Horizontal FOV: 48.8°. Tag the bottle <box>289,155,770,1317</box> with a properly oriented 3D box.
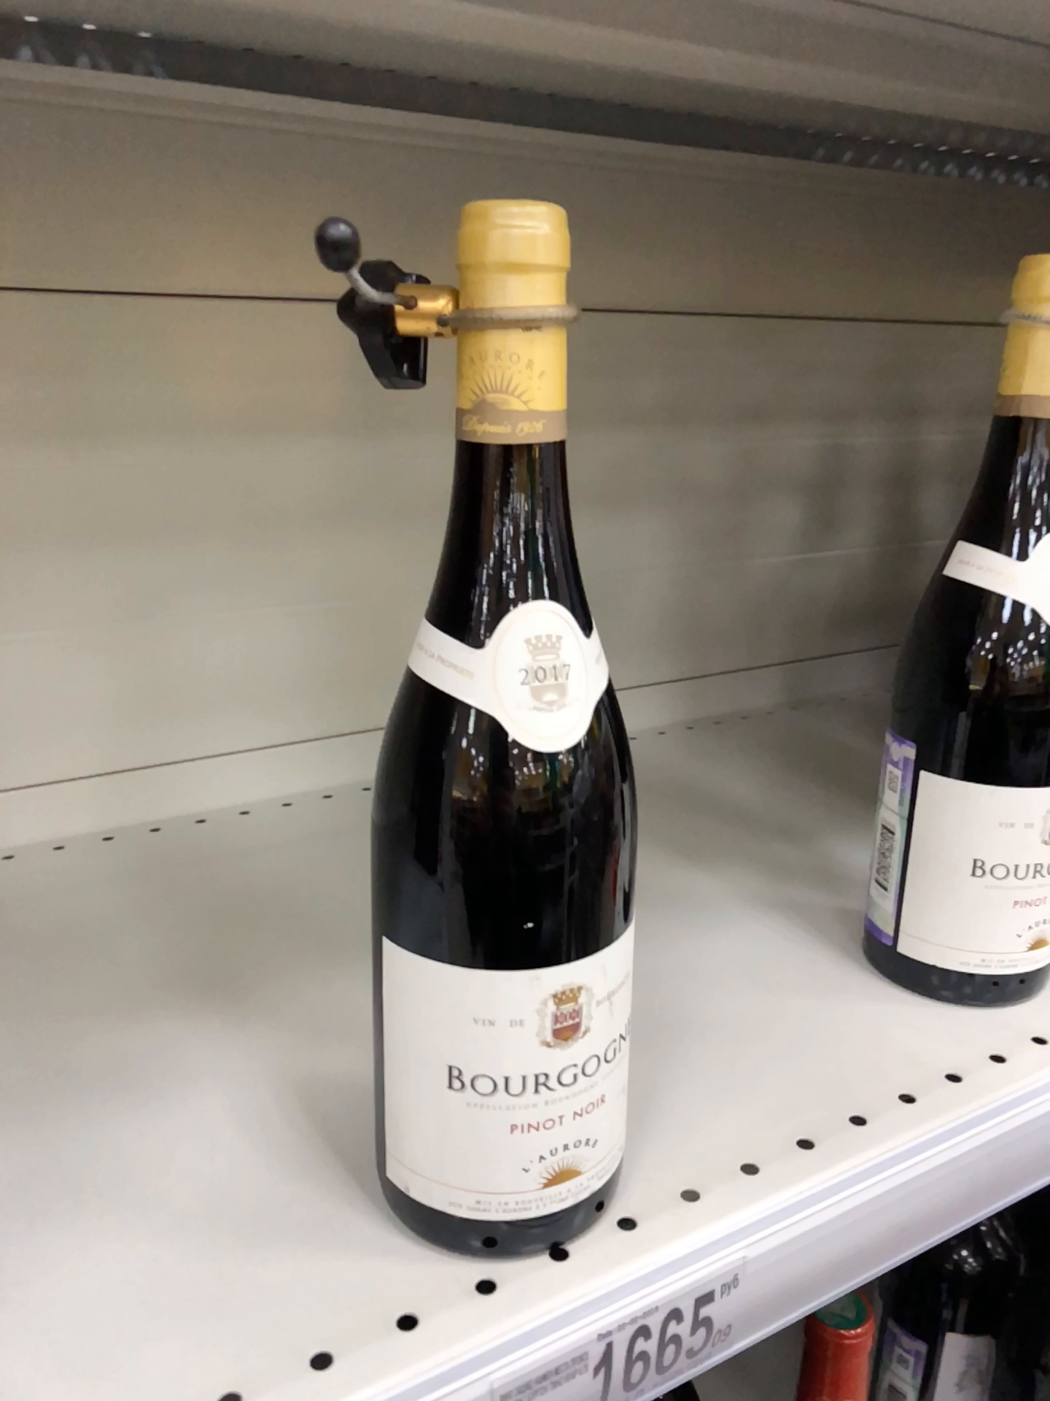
[{"bbox_3d":[-0.005,0.011,0.333,0.090,0.289,0.090,1,16,0],"label":"bottle"}]
